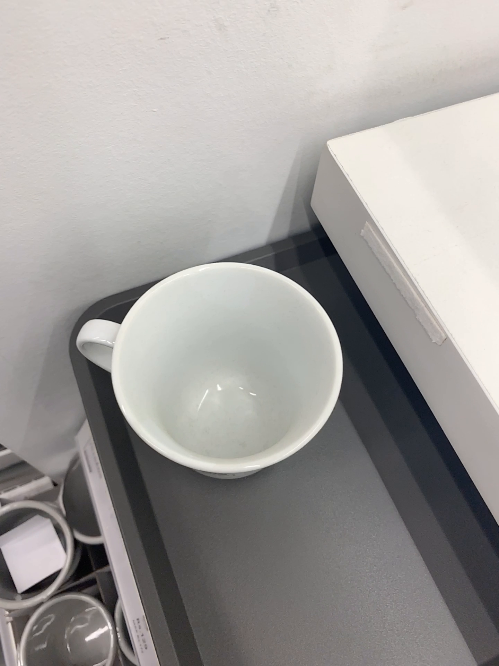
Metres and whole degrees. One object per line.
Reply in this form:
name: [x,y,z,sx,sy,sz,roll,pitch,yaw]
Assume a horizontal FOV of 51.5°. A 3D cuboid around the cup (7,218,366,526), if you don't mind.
cup: [-0.023,0.025,0.265,0.130,0.100,0.100,12,63,4]
